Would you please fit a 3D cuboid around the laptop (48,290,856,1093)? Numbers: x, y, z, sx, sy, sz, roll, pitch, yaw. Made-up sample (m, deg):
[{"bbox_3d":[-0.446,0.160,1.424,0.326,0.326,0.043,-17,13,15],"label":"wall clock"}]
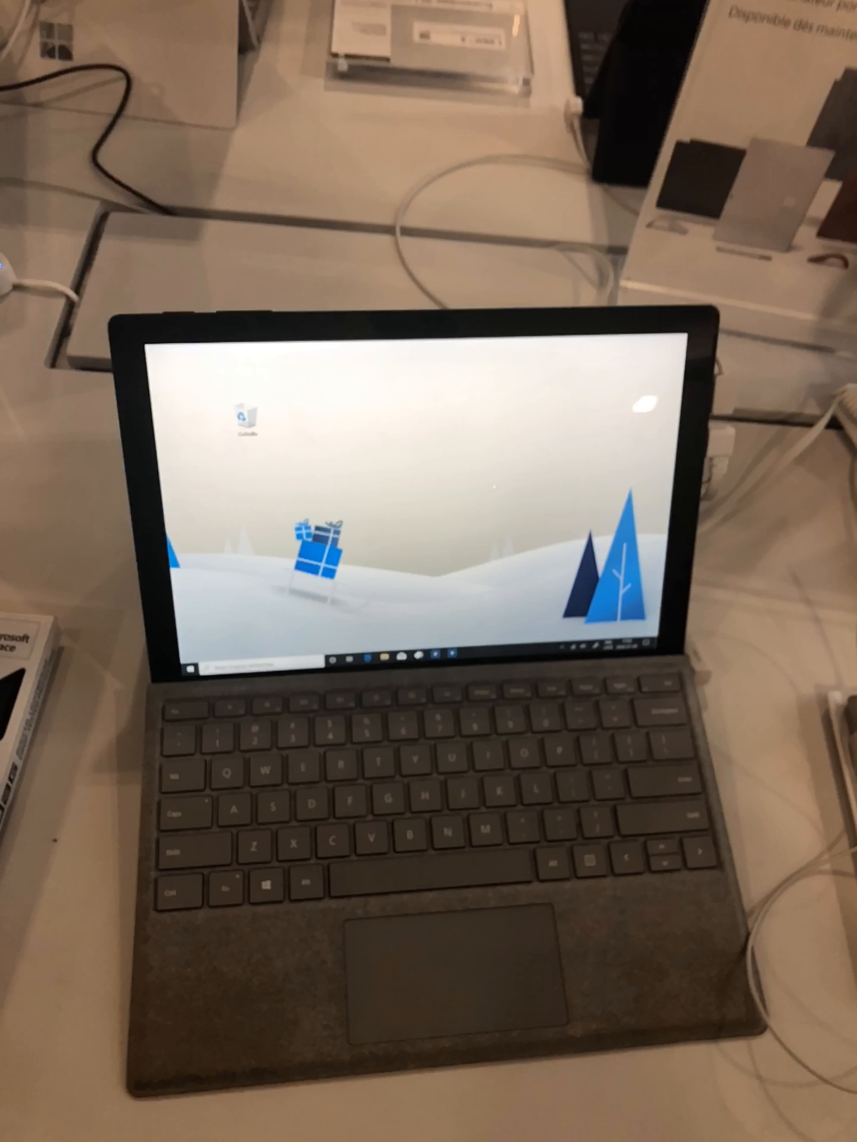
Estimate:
[{"bbox_3d":[0.006,0.045,0.436,0.285,0.150,0.308,-2,61,-7],"label":"laptop"}]
